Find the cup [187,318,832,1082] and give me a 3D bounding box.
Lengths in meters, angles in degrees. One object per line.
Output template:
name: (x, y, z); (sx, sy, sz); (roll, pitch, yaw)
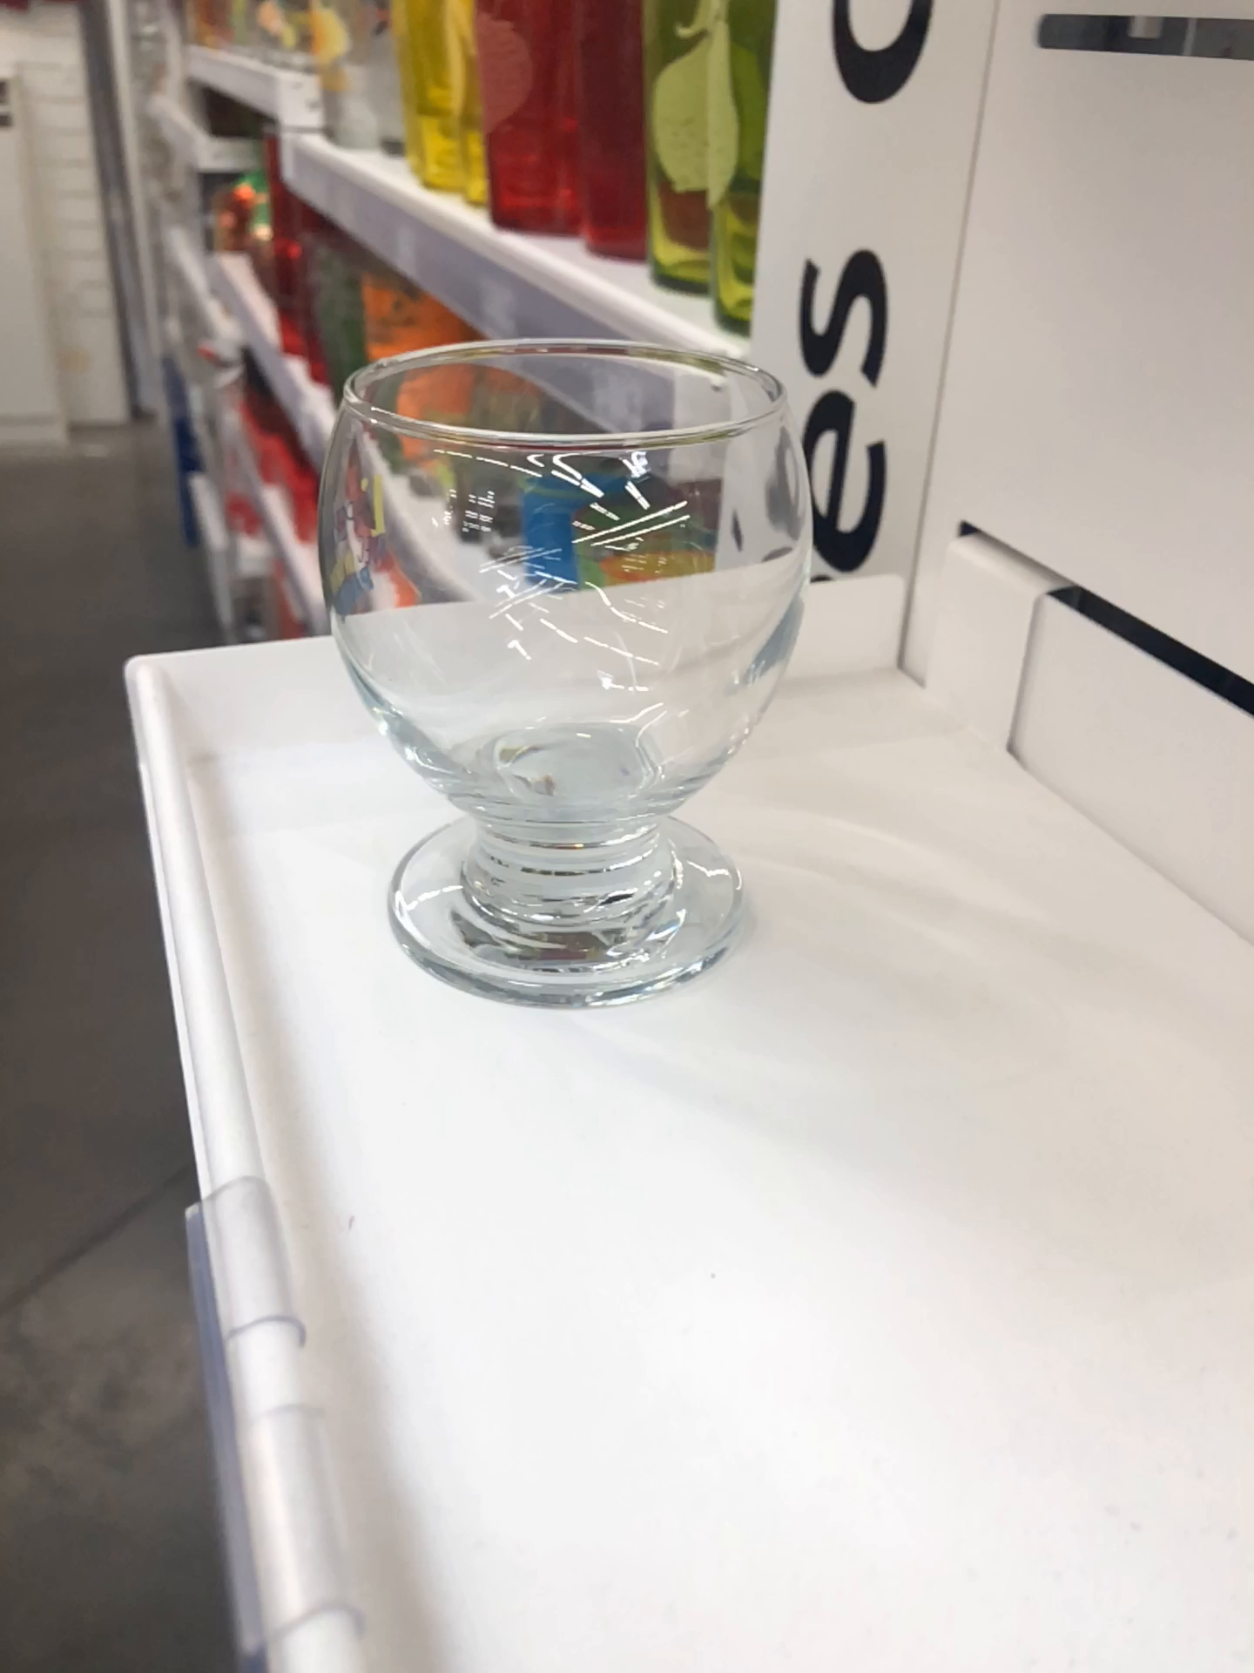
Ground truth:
cup: (-0.012, -0.026, 0.224); (0.078, 0.093, 0.074); (2, 29, -1)
